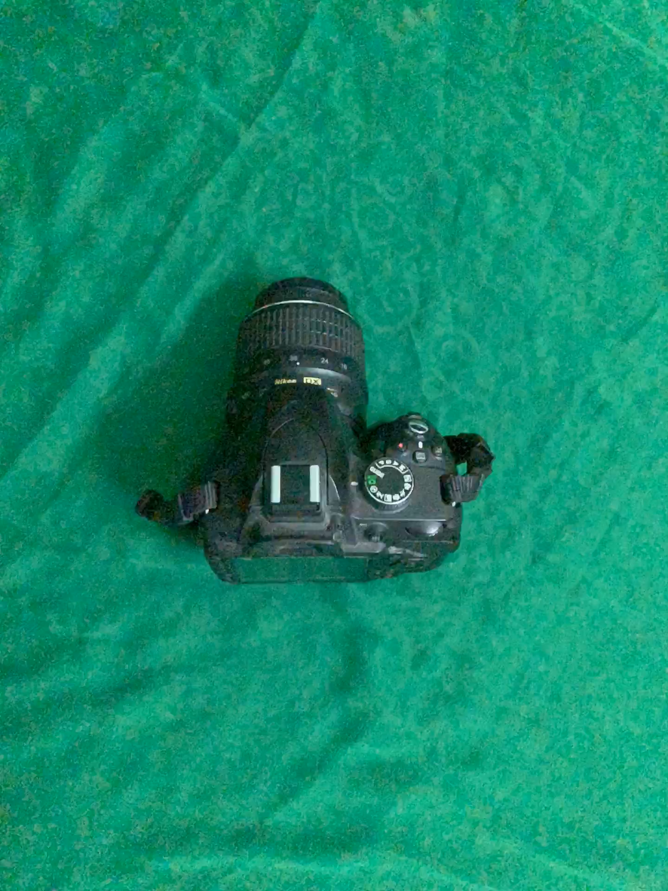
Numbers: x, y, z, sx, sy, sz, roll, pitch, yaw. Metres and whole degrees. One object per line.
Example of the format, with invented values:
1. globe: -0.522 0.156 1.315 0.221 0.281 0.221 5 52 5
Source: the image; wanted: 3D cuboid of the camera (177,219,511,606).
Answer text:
1. camera: -0.002 -0.012 0.348 0.133 0.100 0.166 -1 70 -4
